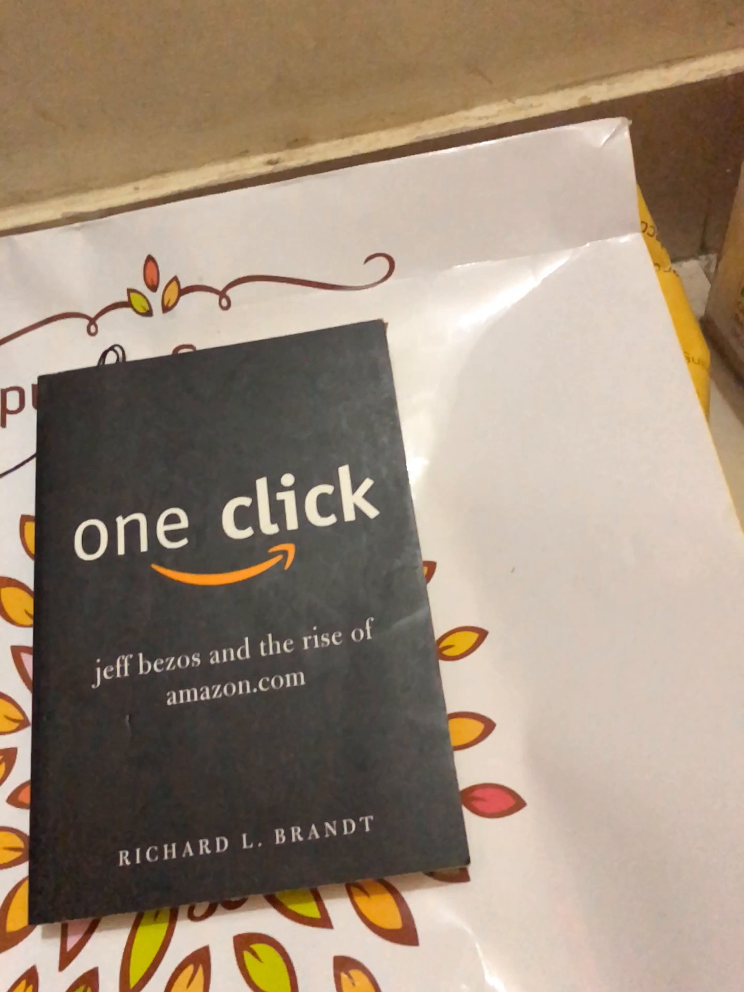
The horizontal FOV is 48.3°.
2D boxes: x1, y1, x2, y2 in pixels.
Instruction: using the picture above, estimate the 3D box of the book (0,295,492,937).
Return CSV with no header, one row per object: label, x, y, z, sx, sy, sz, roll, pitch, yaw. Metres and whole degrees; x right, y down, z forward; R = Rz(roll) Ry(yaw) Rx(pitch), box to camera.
book,-0.056,0.033,0.318,0.160,0.020,0.220,-11,65,3
